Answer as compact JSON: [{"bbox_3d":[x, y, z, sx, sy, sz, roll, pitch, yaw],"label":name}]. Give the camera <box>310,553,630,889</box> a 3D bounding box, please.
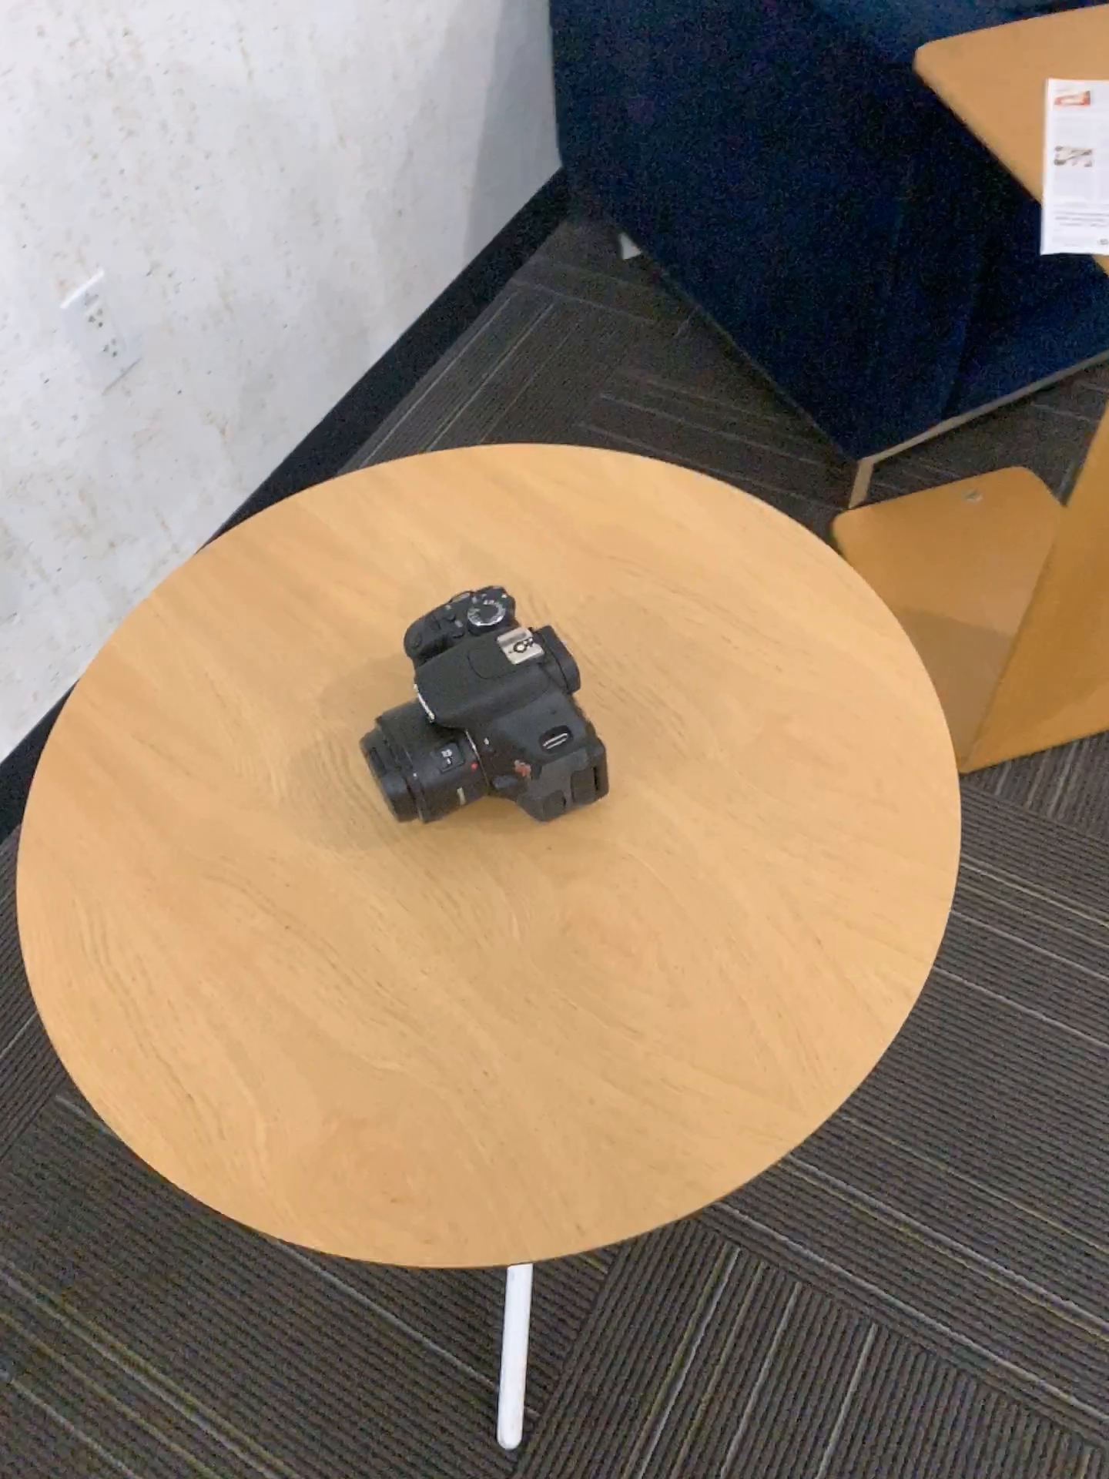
[{"bbox_3d":[-0.044,-0.012,0.620,0.125,0.080,0.120,-27,59,-13],"label":"camera"}]
